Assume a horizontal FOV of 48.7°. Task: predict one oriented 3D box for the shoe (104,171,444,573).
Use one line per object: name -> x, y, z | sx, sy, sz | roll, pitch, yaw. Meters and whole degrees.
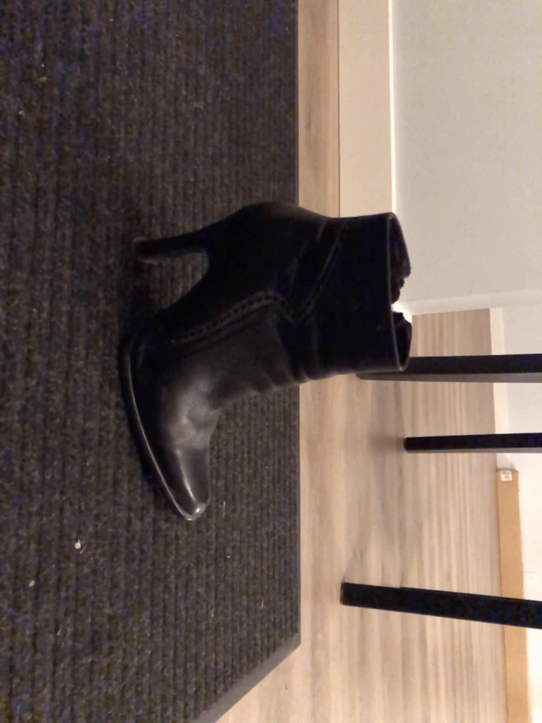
shoe -> 0.004, 0.011, 0.437 | 0.090, 0.209, 0.240 | -12, 98, -67
